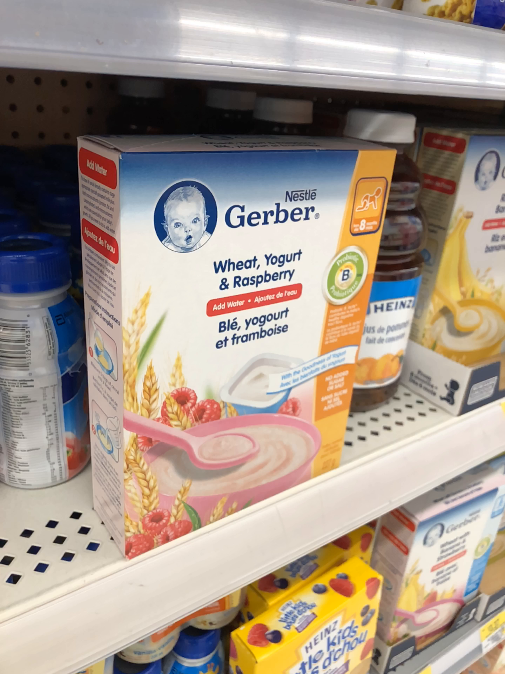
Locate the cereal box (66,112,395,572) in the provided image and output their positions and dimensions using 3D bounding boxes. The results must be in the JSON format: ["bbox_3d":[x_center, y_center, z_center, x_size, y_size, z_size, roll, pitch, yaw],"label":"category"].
[{"bbox_3d":[-0.011,-0.002,0.285,0.140,0.199,0.050,-12,28,-34],"label":"cereal box"}]

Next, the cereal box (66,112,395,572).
[{"bbox_3d":[-0.011,-0.002,0.285,0.140,0.199,0.050,-12,28,-34],"label":"cereal box"}]

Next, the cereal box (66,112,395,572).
[{"bbox_3d":[-0.011,-0.002,0.285,0.140,0.199,0.050,-12,28,-34],"label":"cereal box"}]
